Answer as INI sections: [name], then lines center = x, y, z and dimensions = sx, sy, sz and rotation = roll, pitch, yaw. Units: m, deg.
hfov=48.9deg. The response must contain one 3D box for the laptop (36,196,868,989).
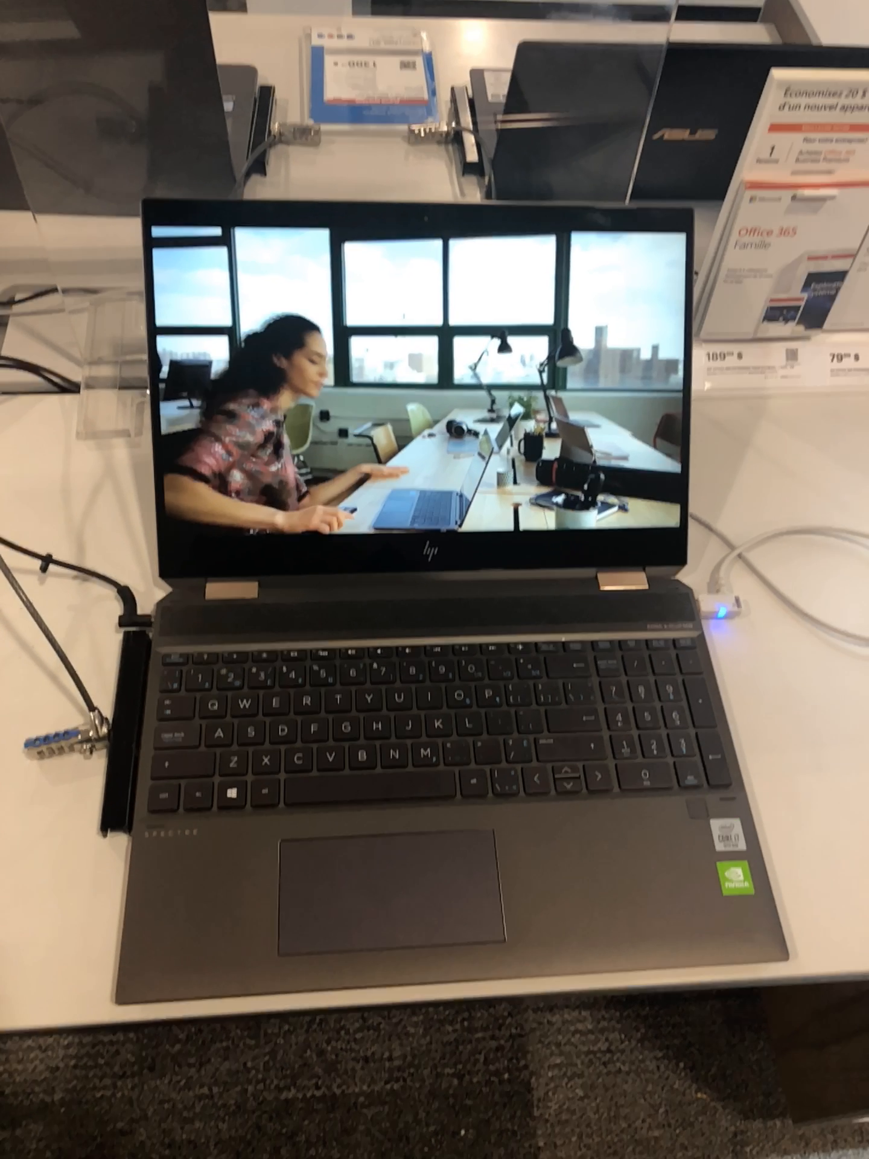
[laptop]
center = 0.002, -0.017, 0.537
dimensions = 0.333, 0.145, 0.426
rotation = -1, 57, -3
